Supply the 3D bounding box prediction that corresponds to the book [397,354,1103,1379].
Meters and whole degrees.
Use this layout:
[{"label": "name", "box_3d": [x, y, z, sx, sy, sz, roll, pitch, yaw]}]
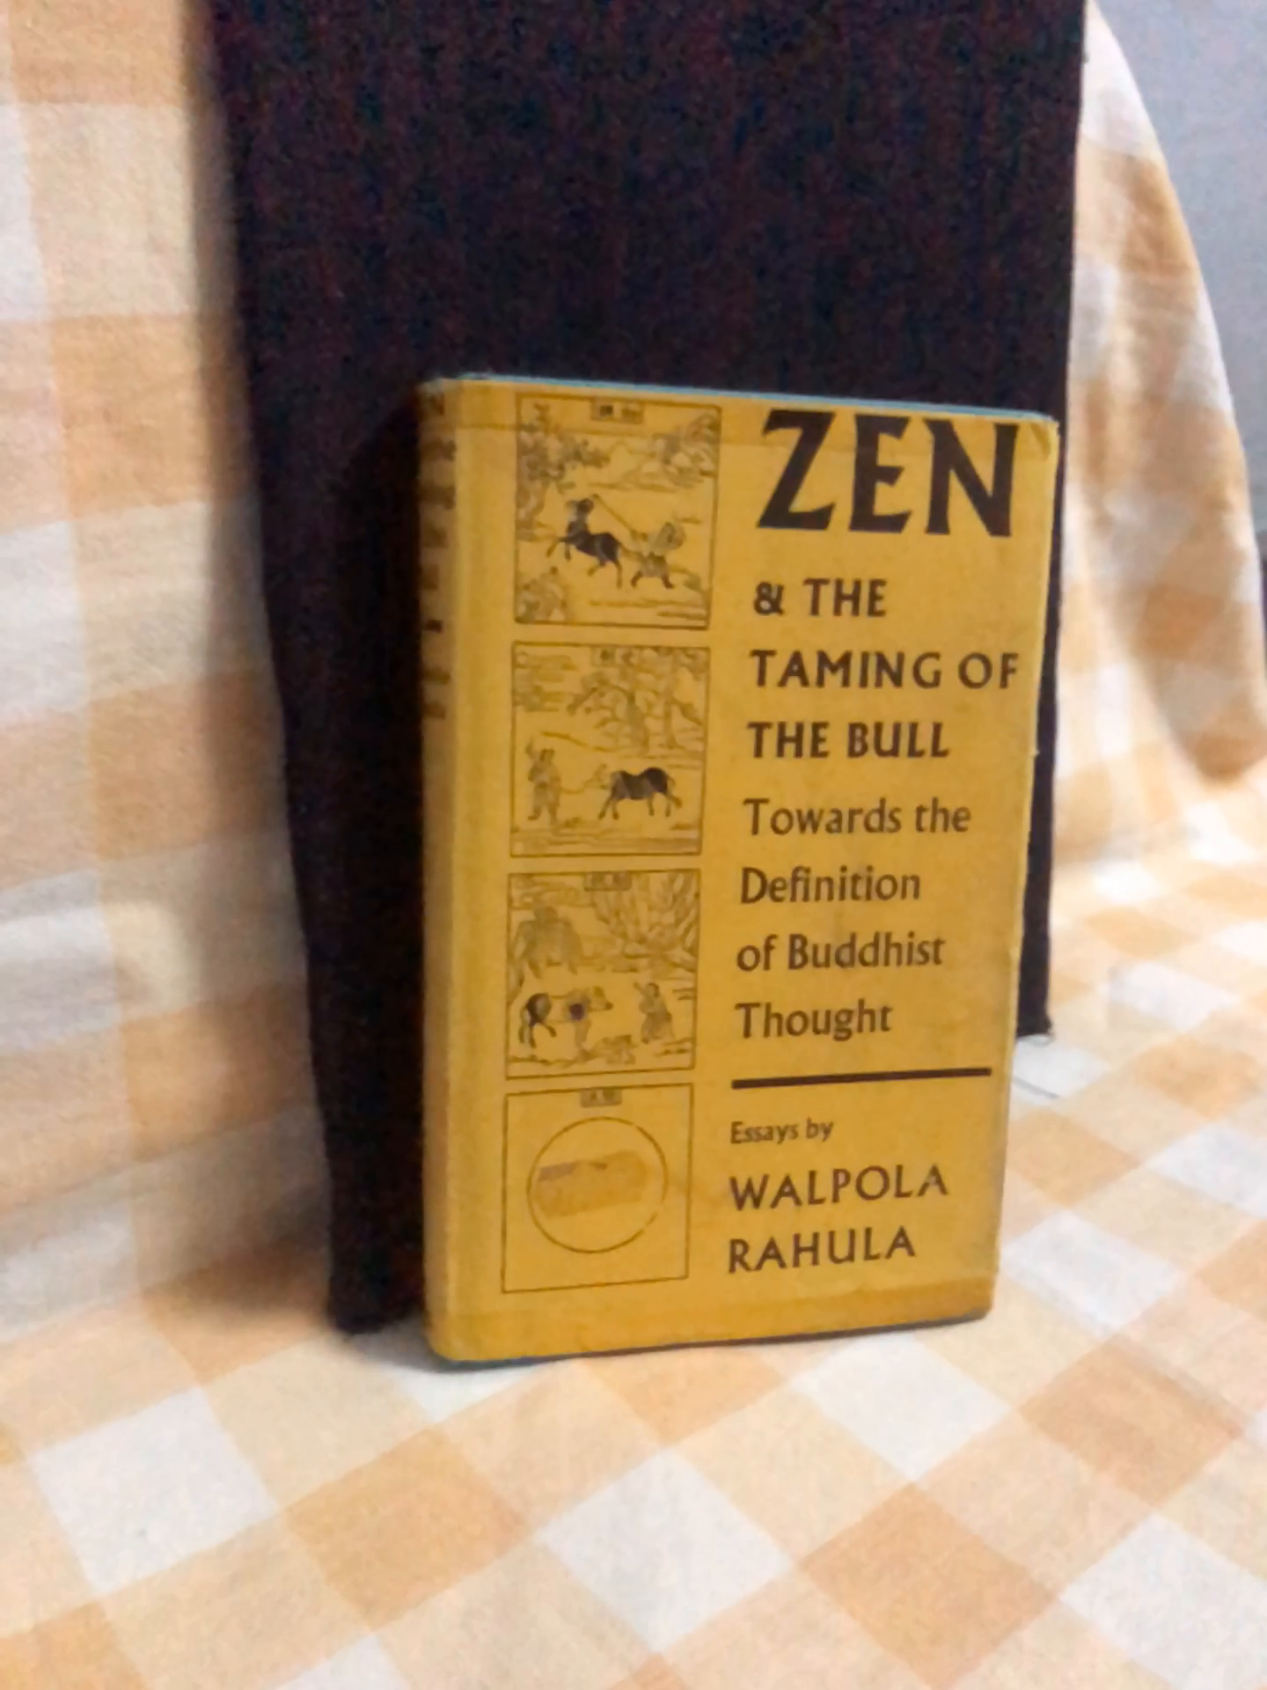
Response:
[{"label": "book", "box_3d": [0.022, 0.009, 0.315, 0.140, 0.209, 0.030, 0, 11, -15]}]
